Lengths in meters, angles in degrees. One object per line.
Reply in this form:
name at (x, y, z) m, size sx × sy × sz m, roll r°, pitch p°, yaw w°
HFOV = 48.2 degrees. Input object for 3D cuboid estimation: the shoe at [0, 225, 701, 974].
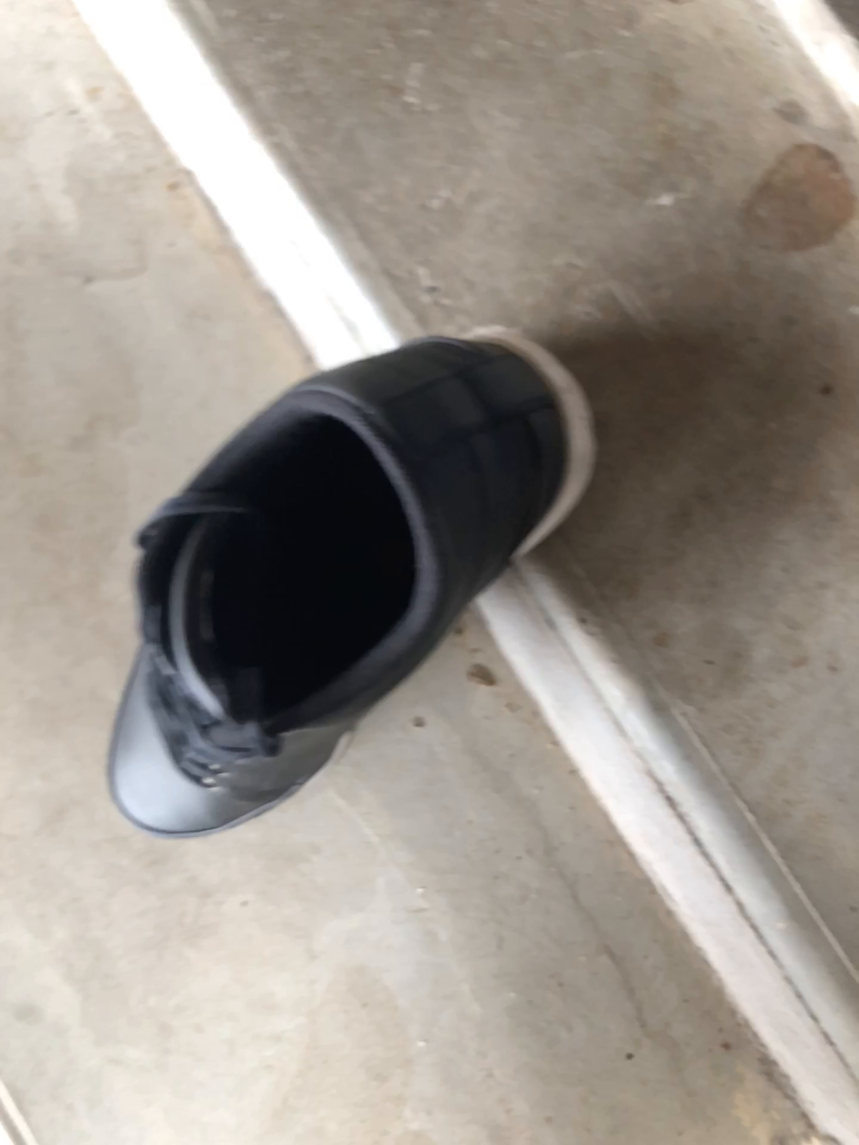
shoe at (-0.064, 0.026, 0.368) m, size 0.289 × 0.090 × 0.130 m, roll -39°, pitch 82°, yaw 32°
